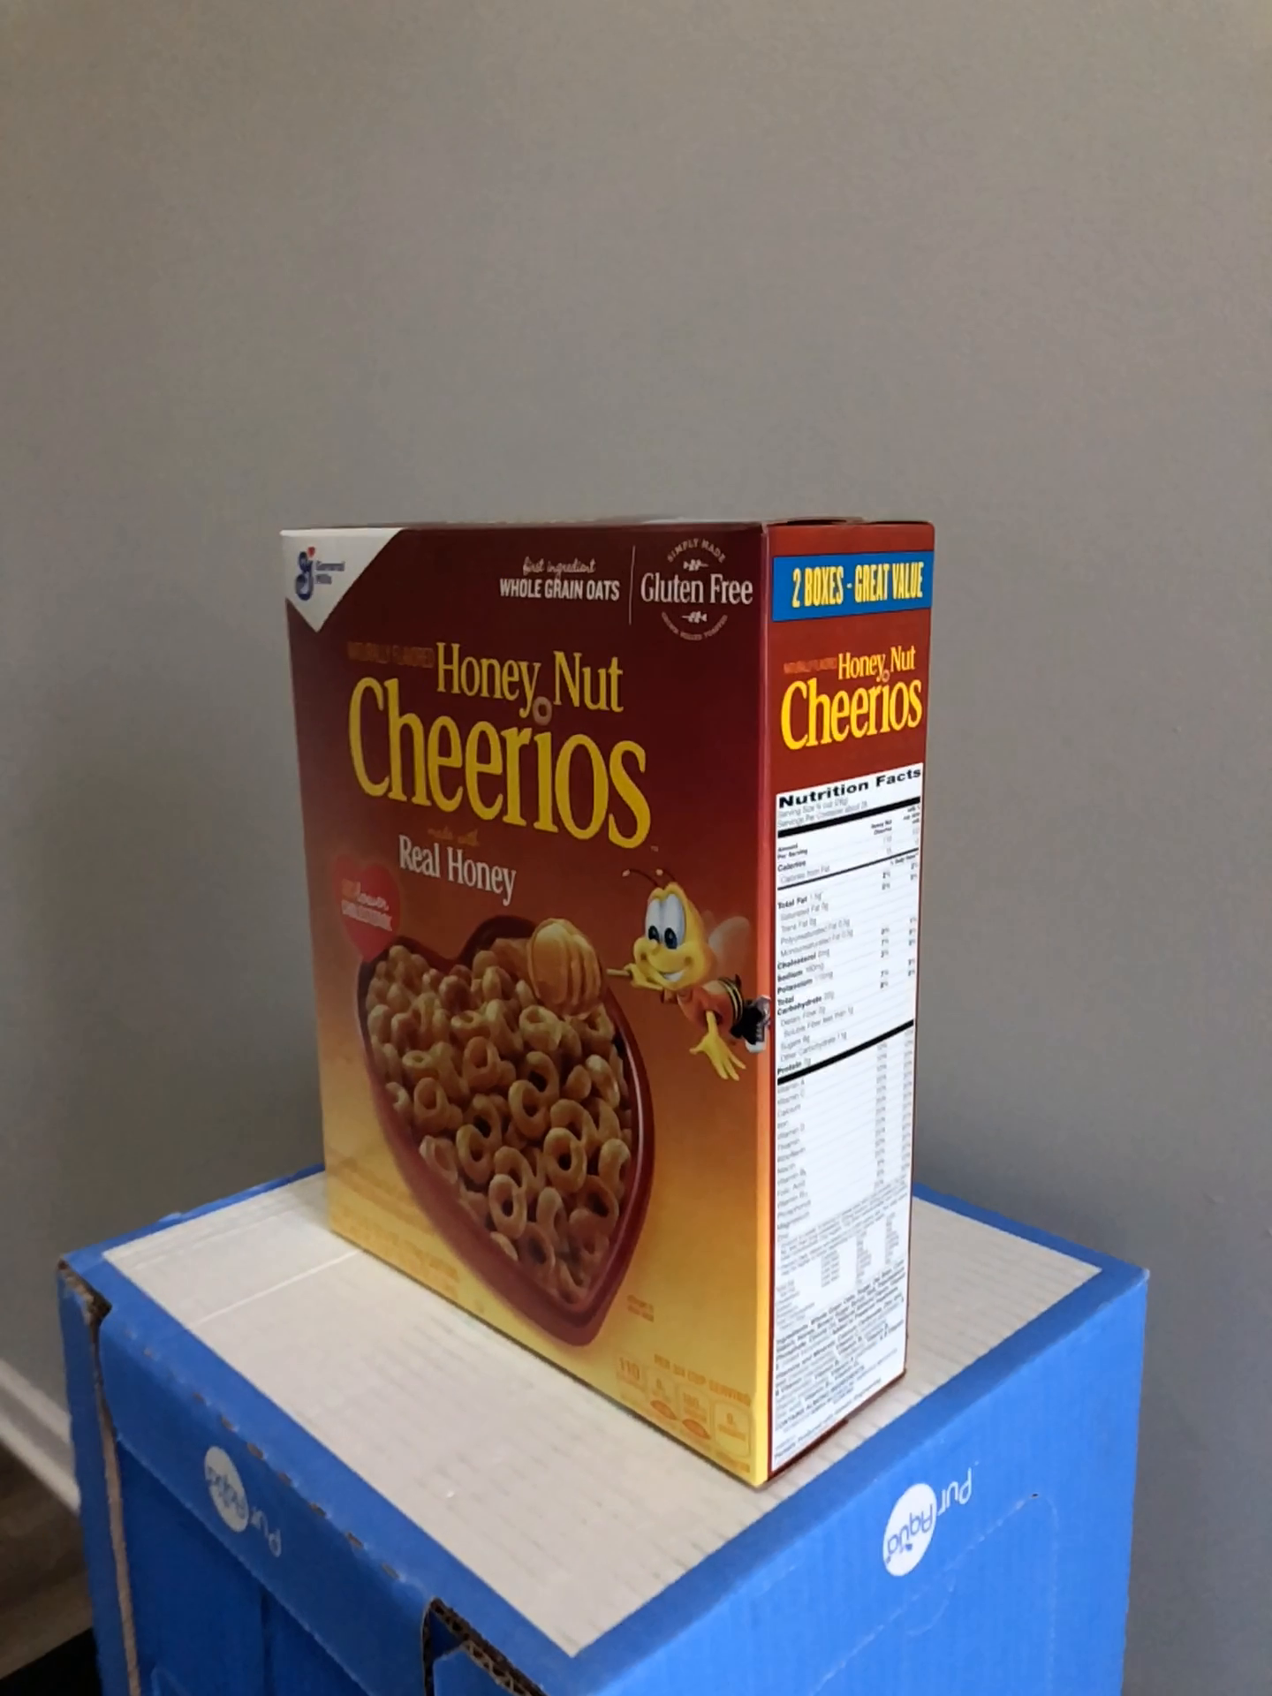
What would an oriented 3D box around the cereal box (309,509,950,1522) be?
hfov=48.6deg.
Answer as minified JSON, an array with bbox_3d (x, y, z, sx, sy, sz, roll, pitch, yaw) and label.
[{"bbox_3d":[-0.012,0.037,0.522,0.080,0.309,0.240,-12,16,-42],"label":"cereal box"}]
